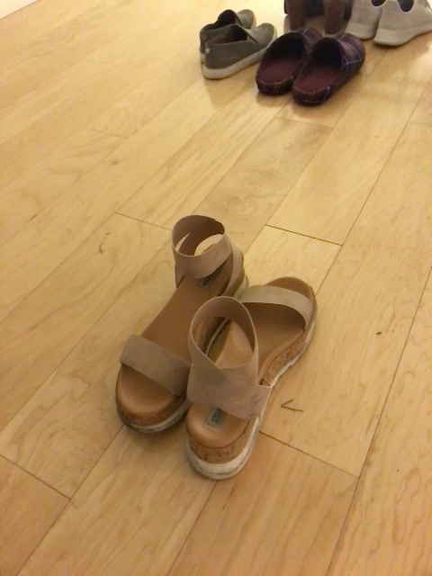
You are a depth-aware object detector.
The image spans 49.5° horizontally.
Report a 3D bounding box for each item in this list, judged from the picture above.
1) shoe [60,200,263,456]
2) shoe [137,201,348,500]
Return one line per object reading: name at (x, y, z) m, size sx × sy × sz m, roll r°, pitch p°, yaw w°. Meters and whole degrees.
shoe at (-0.041, 0.036, 0.549) m, size 0.100 × 0.139 × 0.252 m, roll 17°, pitch 52°, yaw 21°
shoe at (0.048, 0.053, 0.524) m, size 0.100 × 0.139 × 0.292 m, roll 17°, pitch 52°, yaw 22°
